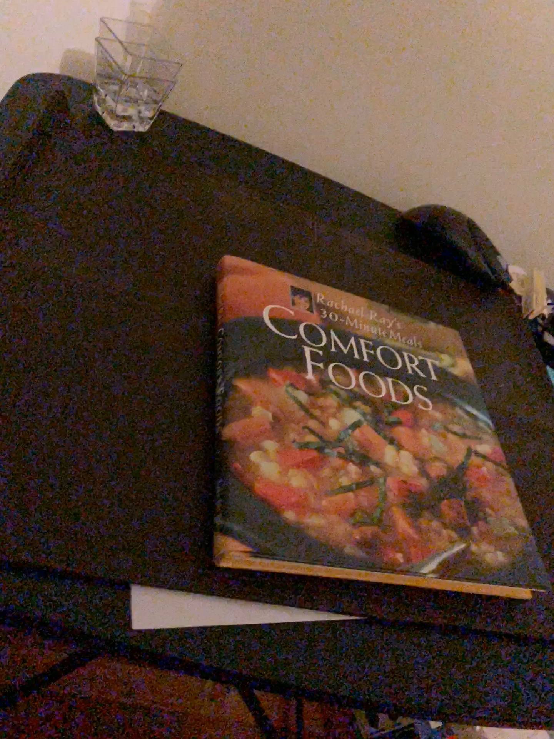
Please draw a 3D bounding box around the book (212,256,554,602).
[{"bbox_3d":[0.058,0.031,0.353,0.200,0.020,0.201,14,46,-22],"label":"book"}]
